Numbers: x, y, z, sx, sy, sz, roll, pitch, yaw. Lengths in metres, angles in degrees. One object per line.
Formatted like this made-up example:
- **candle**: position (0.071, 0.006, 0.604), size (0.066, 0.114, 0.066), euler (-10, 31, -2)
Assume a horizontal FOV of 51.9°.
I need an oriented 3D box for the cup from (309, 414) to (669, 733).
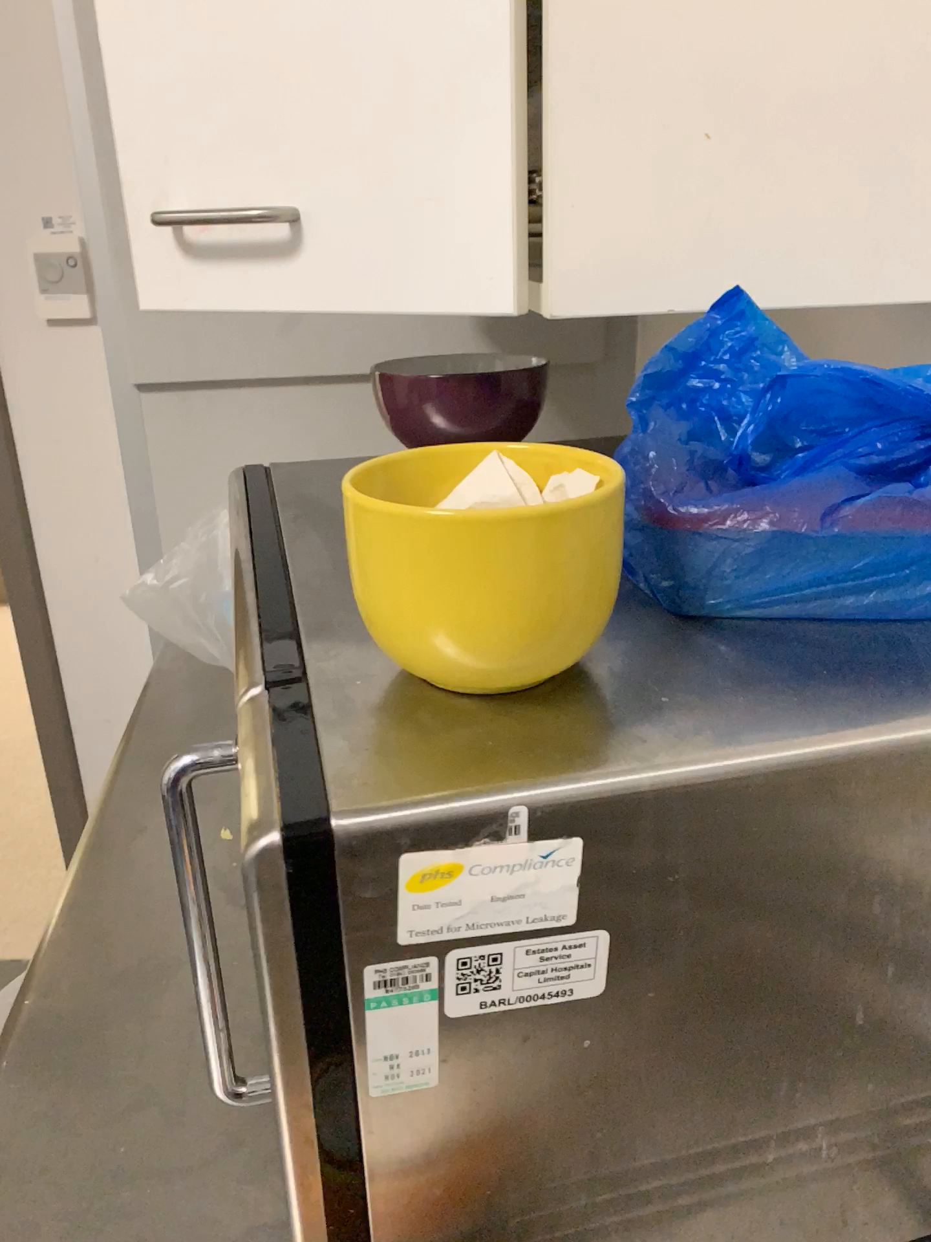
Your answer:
- **cup**: position (0.000, -0.032, 0.416), size (0.116, 0.082, 0.155), euler (-6, 22, -12)
